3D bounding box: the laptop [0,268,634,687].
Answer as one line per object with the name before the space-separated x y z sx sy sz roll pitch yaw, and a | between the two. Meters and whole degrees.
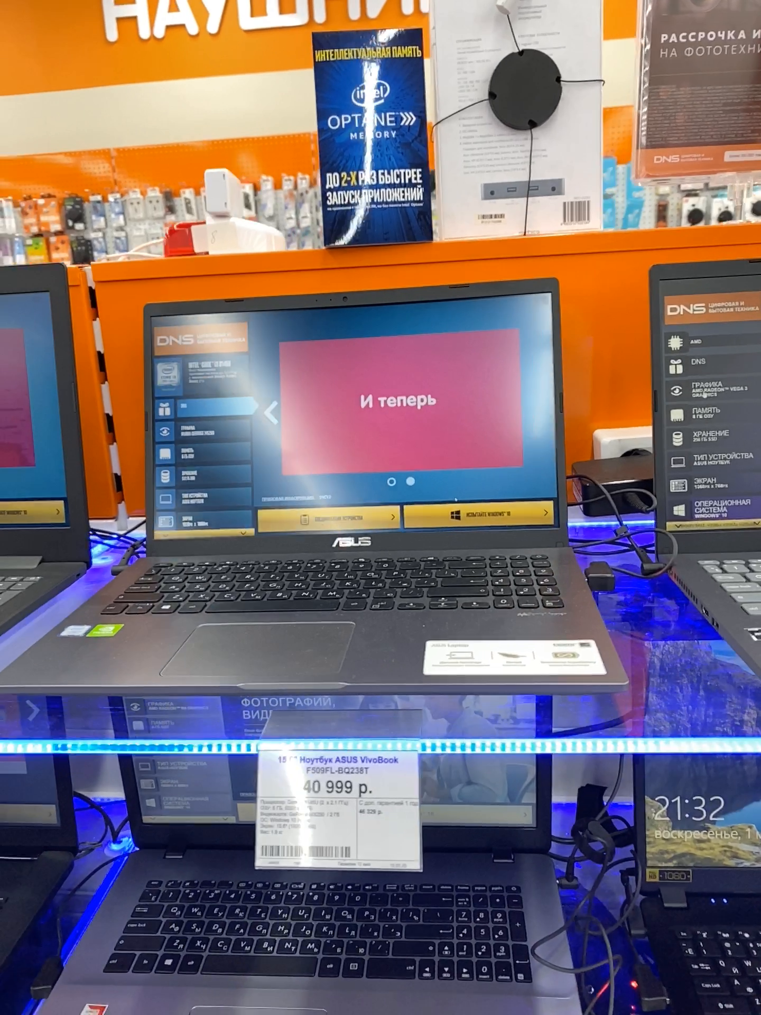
laptop | -0.040 -0.045 0.551 0.357 0.211 0.307 -1 14 6
